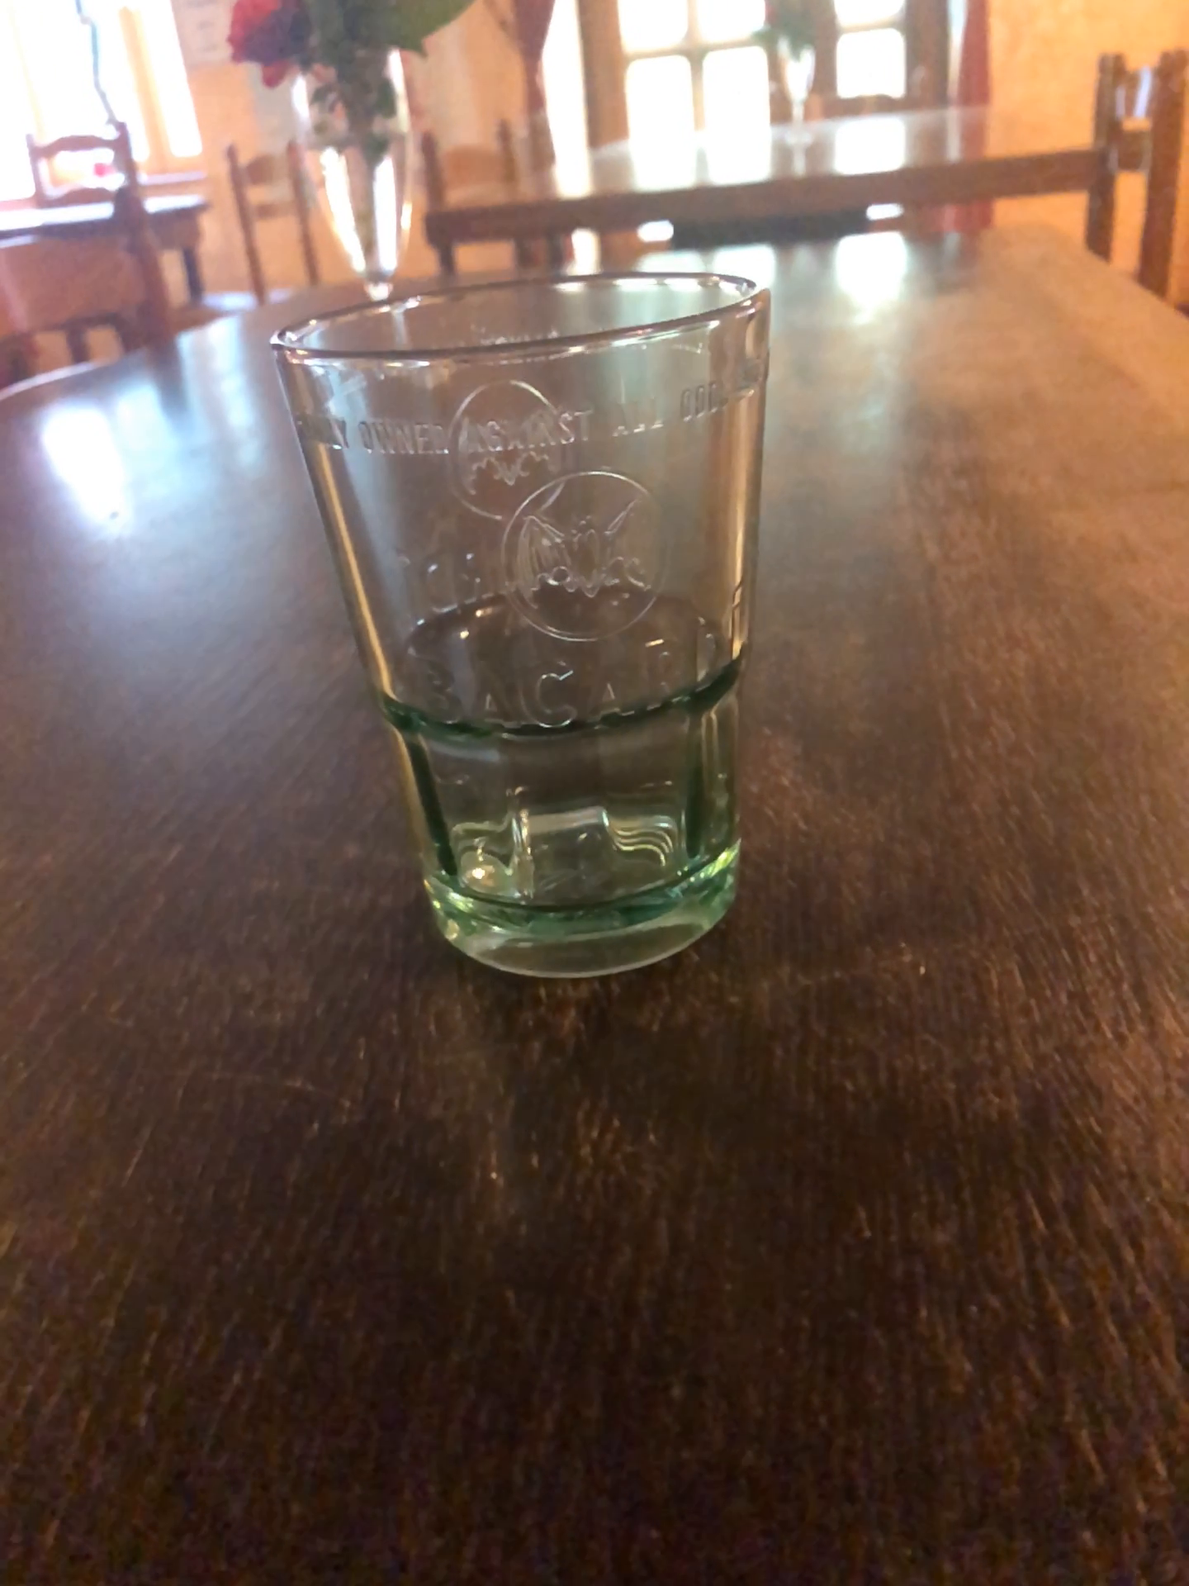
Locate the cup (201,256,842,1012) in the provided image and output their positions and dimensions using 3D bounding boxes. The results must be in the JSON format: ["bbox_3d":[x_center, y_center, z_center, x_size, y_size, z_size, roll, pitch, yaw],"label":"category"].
[{"bbox_3d":[-0.004,-0.032,0.236,0.083,0.103,0.089,-5,27,3],"label":"cup"}]
